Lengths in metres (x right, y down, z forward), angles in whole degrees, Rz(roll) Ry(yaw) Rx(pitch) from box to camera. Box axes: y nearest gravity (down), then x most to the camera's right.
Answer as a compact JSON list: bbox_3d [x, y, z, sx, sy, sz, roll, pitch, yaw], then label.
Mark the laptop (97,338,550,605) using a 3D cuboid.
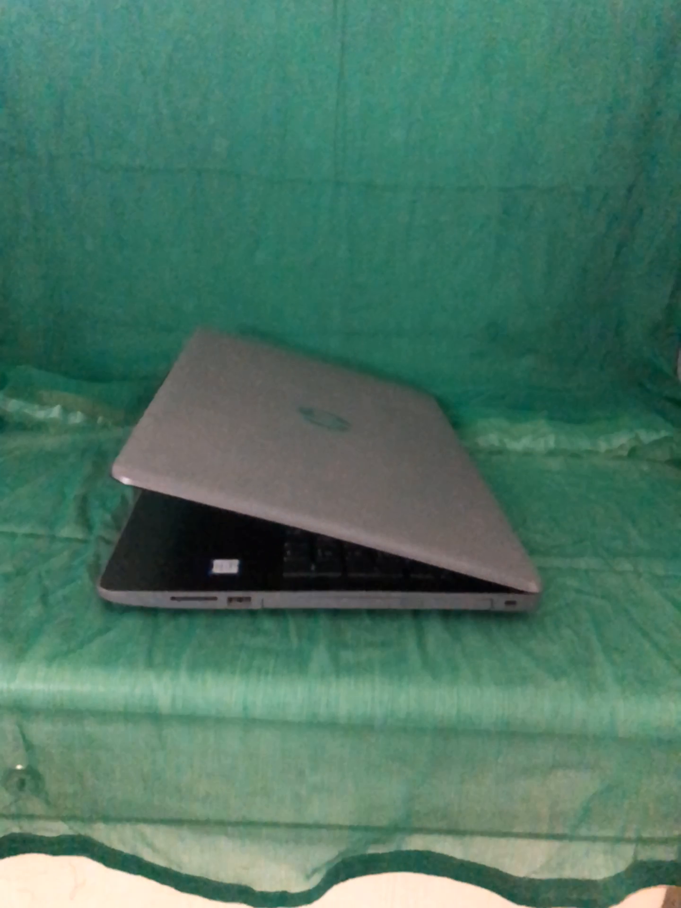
[{"bbox_3d":[-0.016,-0.014,0.562,0.231,0.067,0.361,2,20,-3],"label":"laptop"}]
